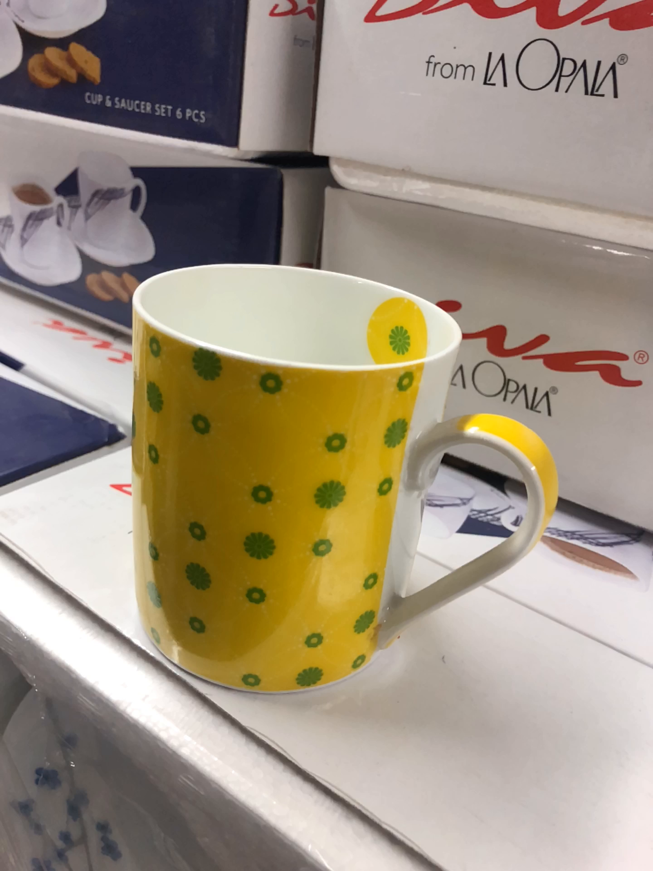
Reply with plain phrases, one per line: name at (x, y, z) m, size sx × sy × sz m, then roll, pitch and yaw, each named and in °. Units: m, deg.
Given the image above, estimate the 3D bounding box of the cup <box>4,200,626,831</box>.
cup at (-0.004, 0.004, 0.152) m, size 0.090 × 0.080 × 0.070 m, roll 22°, pitch 32°, yaw 29°
